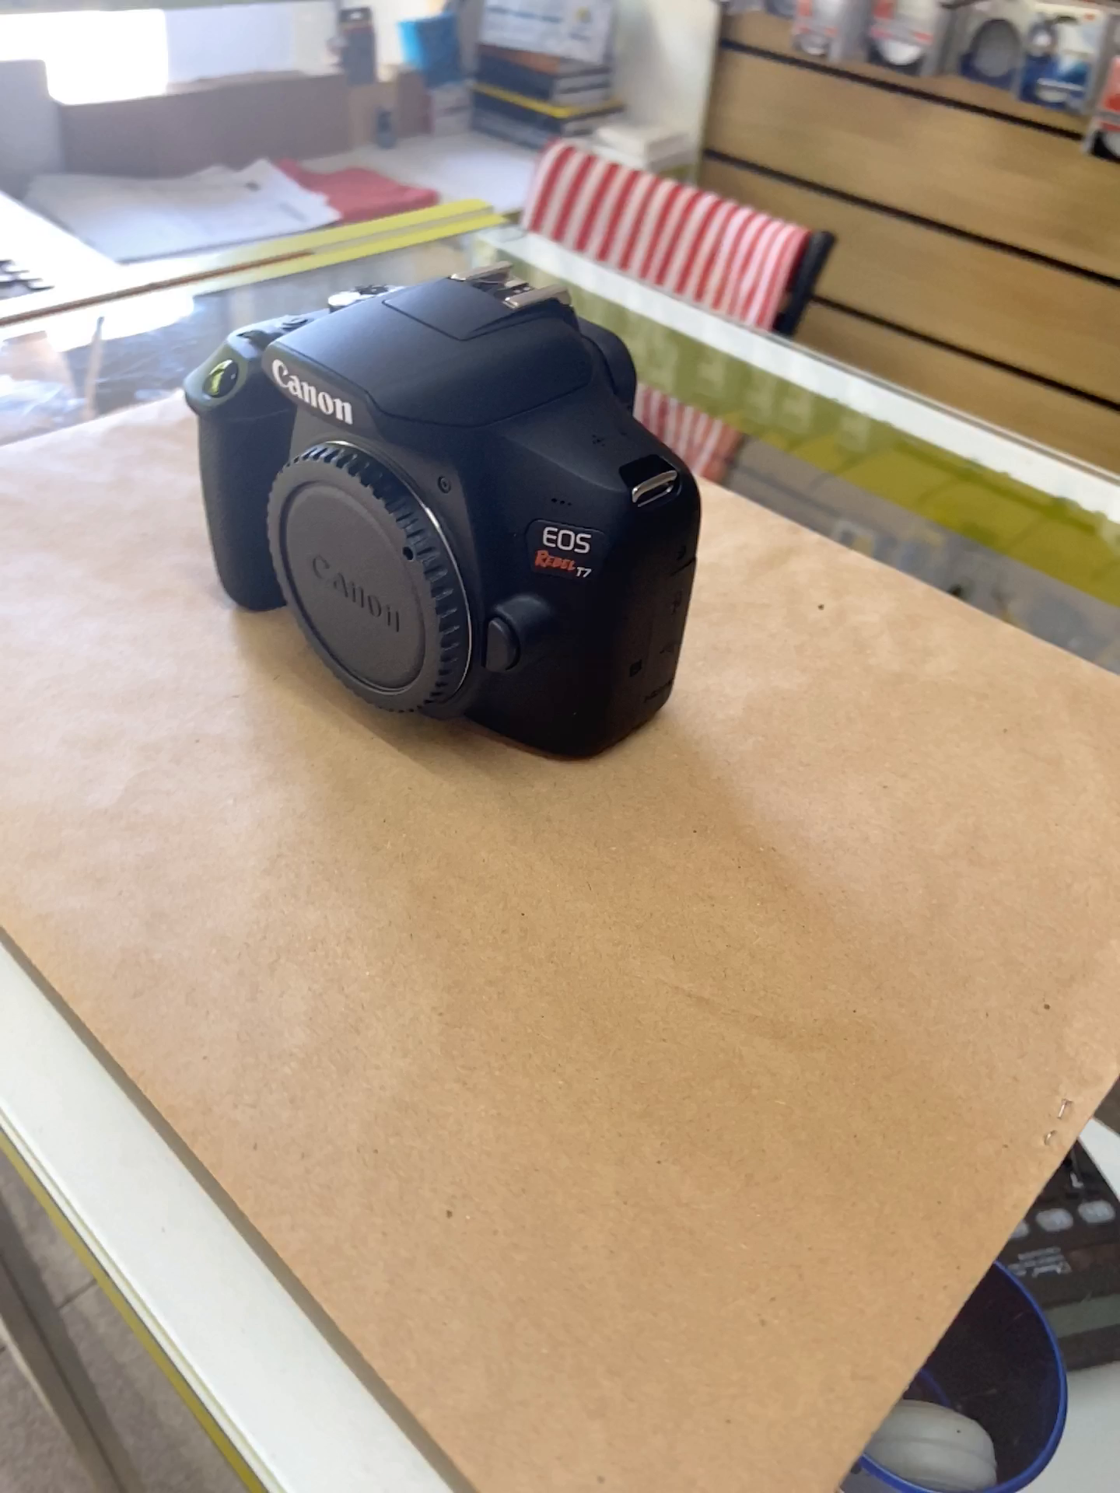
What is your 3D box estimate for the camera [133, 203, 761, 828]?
[{"bbox_3d":[-0.032,-0.064,0.290,0.131,0.092,0.072,34,48,30],"label":"camera"}]
